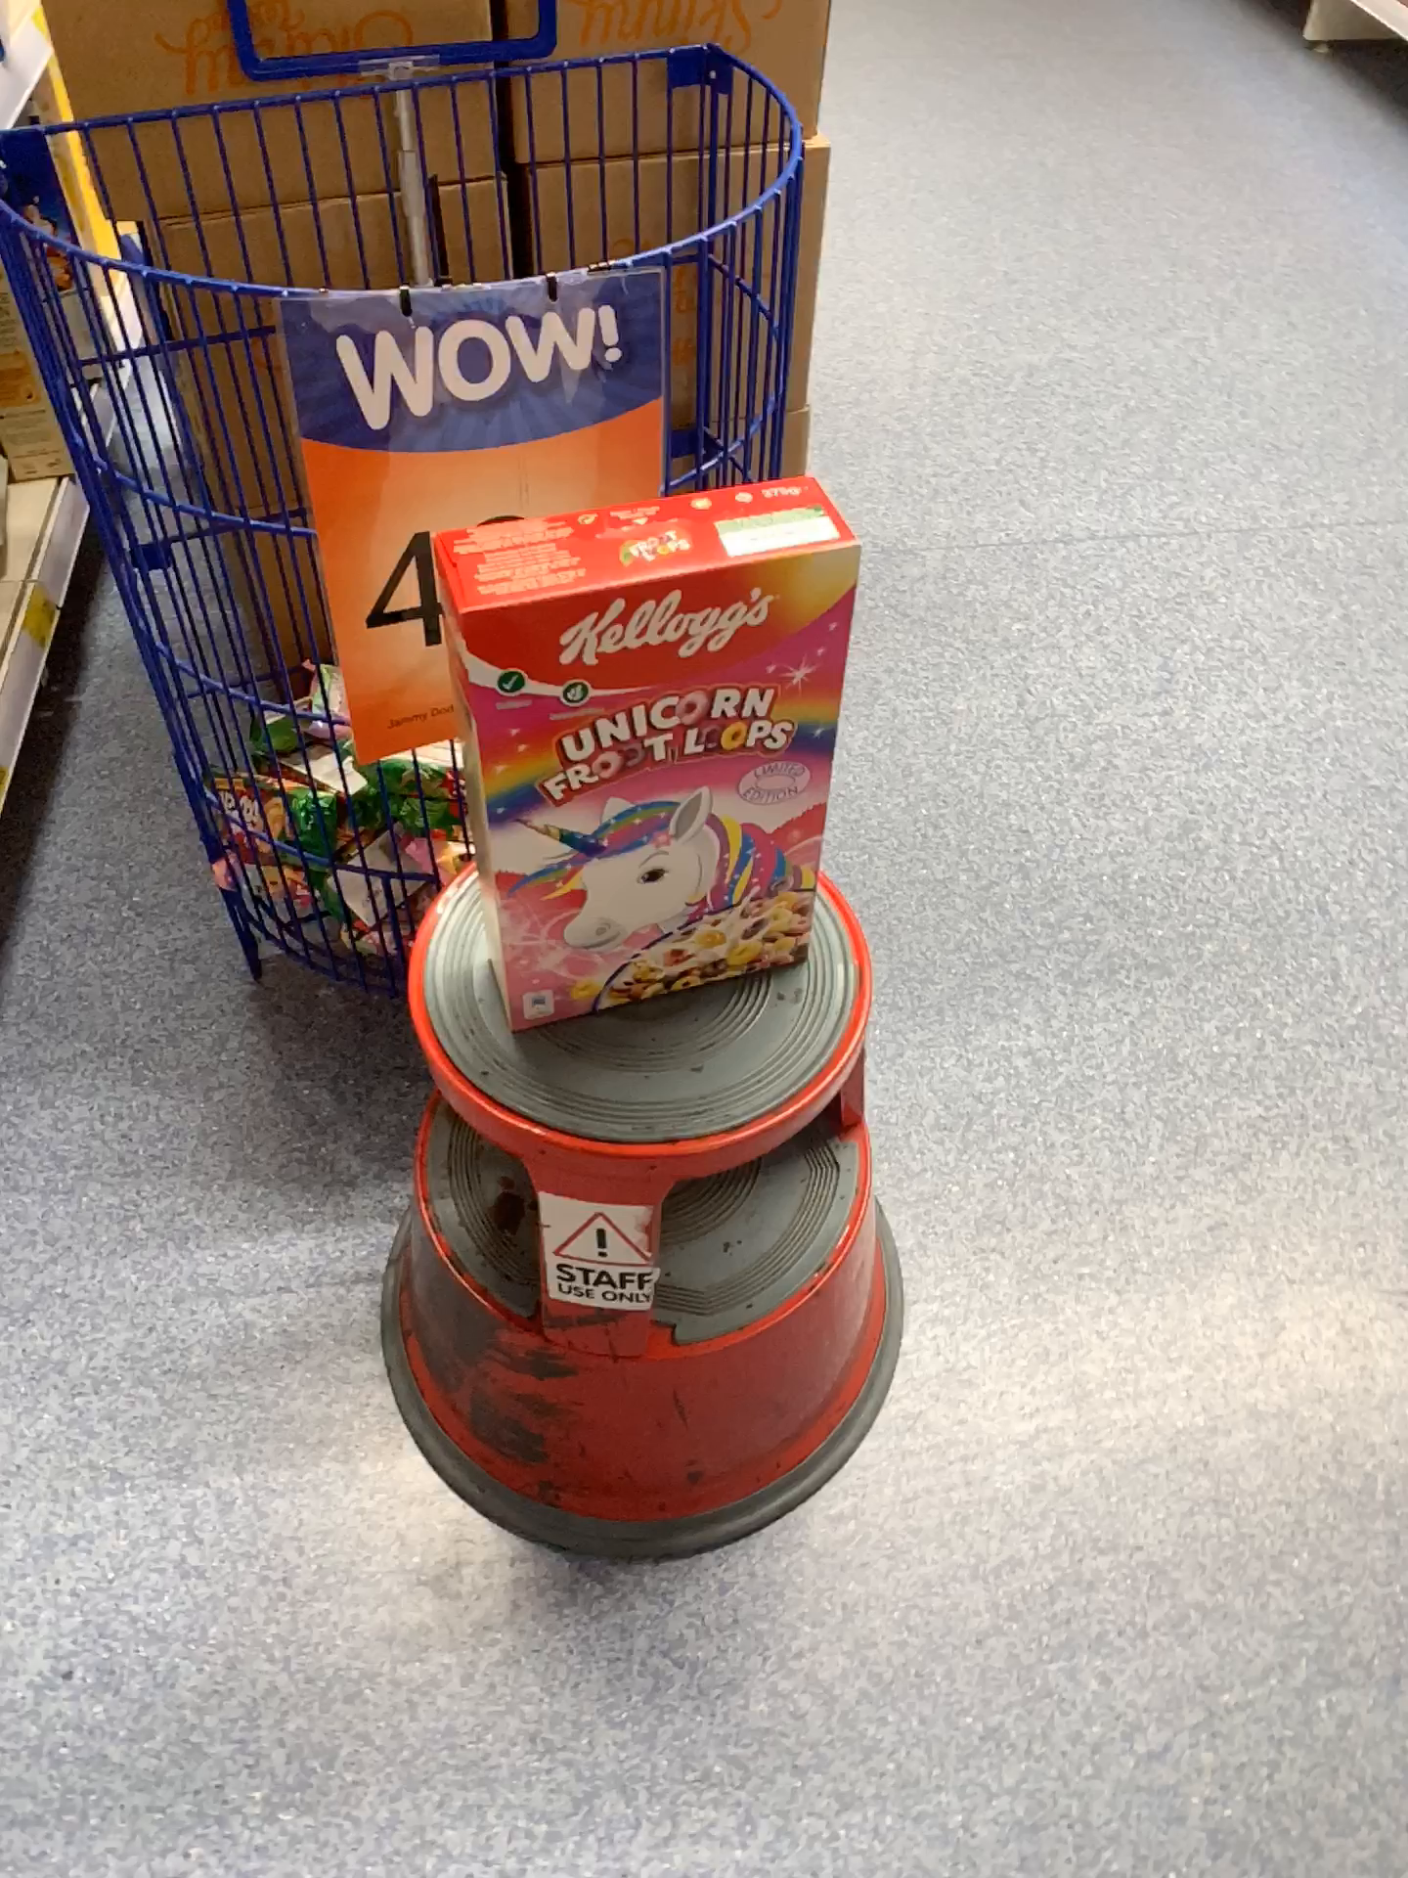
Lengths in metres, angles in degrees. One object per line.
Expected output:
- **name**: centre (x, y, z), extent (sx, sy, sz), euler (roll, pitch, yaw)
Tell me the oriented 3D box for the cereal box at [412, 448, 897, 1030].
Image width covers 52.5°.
- **cereal box**: centre (-0.026, -0.094, 0.757), extent (0.210, 0.287, 0.071), euler (-14, 50, -14)
